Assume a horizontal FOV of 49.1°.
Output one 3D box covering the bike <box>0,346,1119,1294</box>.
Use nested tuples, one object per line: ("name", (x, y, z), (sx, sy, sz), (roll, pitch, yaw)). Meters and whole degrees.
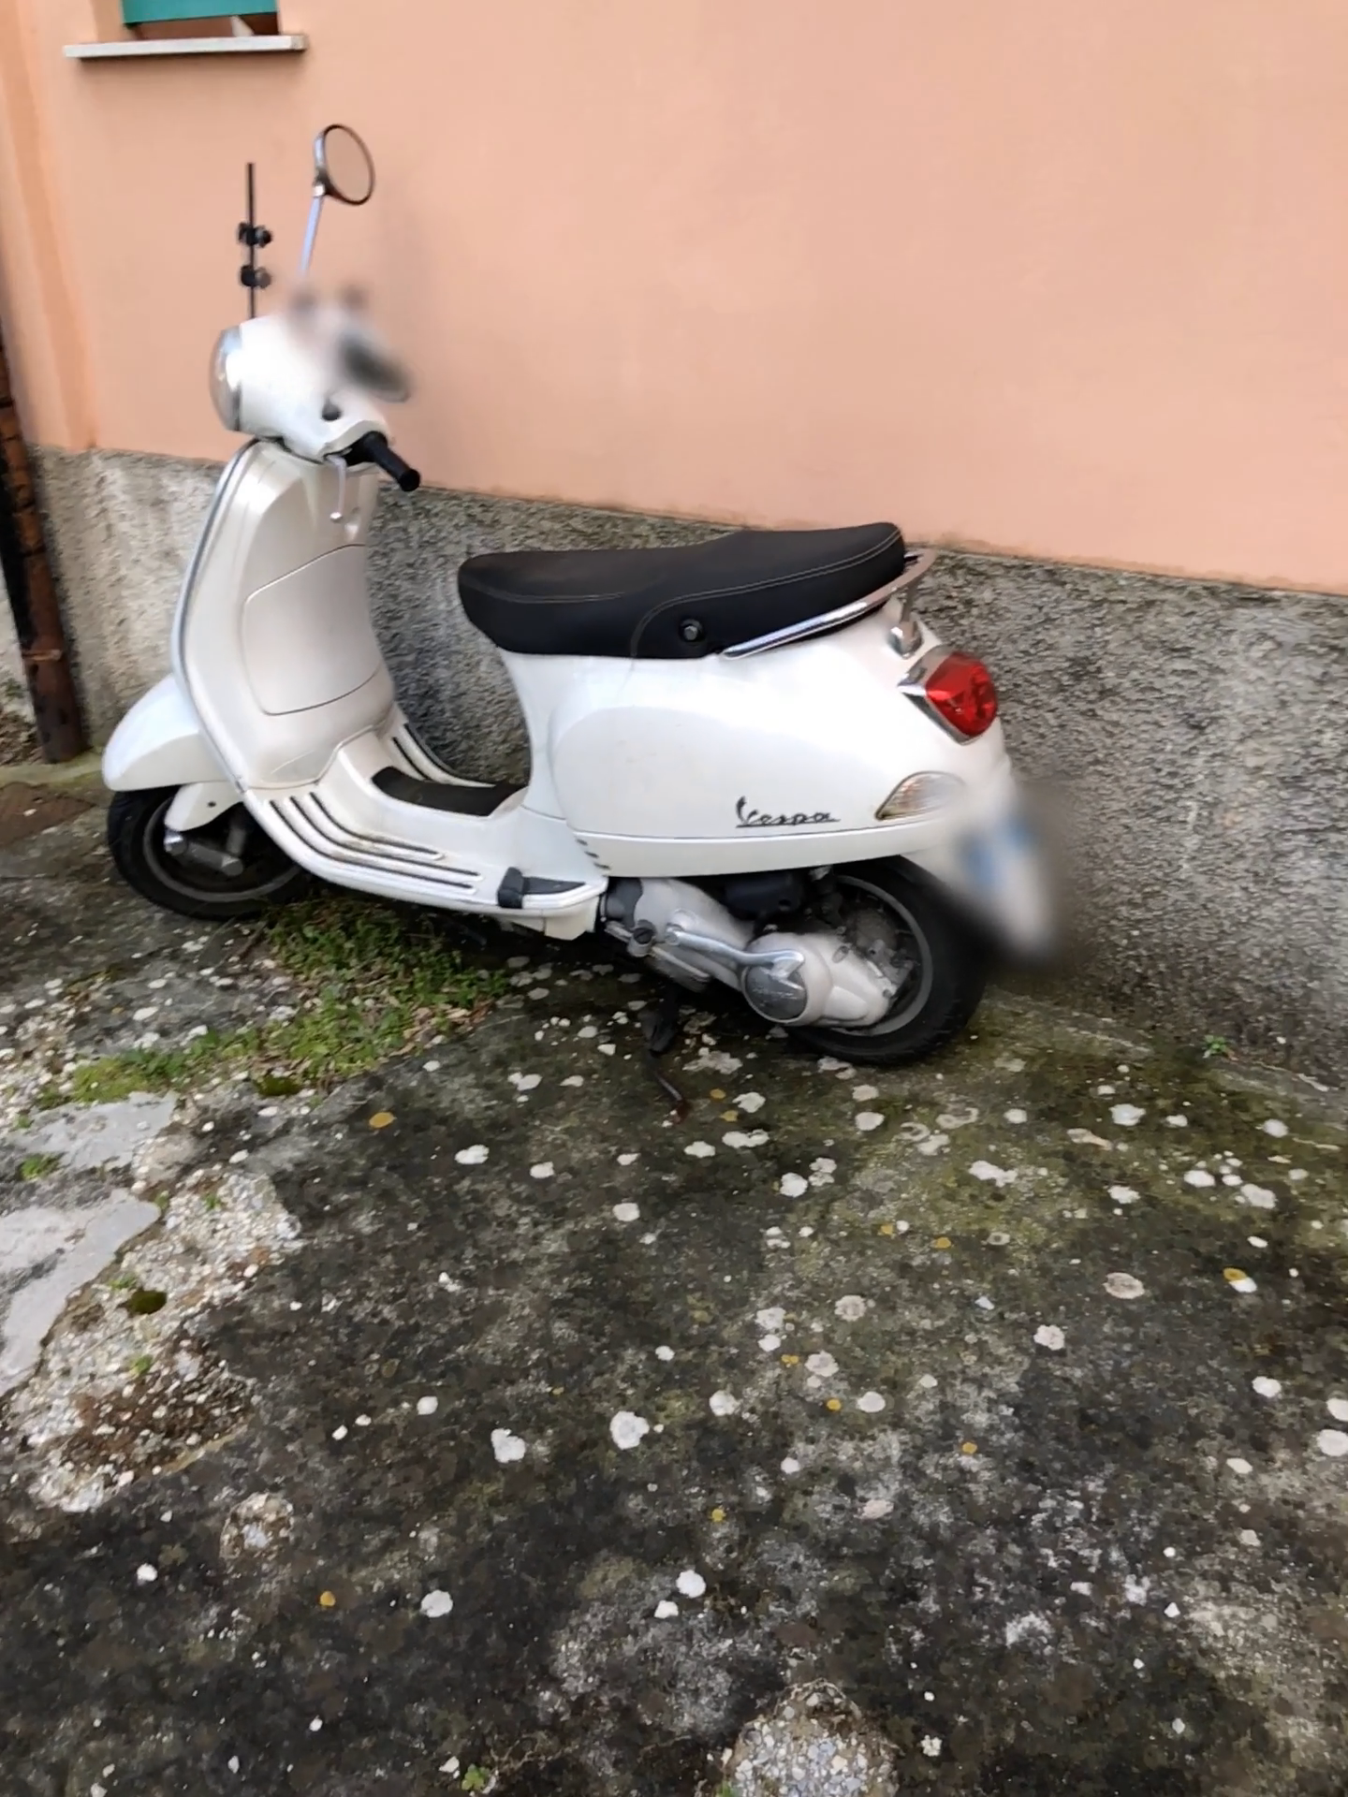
("bike", (-0.353, -0.193, 2.210), (1.658, 1.085, 0.647), (8, 27, 22))
